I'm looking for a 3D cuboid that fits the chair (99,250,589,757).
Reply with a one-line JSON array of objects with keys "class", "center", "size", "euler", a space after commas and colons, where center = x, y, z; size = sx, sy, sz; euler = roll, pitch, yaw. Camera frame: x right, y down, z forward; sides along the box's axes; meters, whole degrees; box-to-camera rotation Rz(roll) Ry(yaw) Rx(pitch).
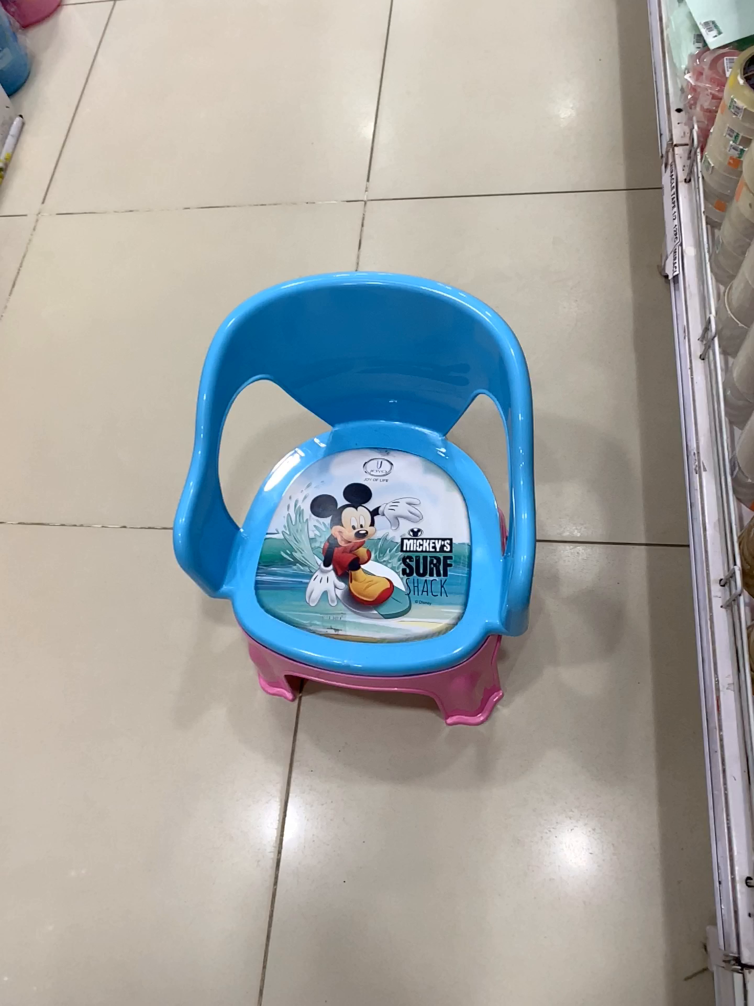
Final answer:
[{"class": "chair", "center": [0.009, 0.010, 0.786], "size": [0.351, 0.319, 0.390], "euler": [5, 67, 12]}]
